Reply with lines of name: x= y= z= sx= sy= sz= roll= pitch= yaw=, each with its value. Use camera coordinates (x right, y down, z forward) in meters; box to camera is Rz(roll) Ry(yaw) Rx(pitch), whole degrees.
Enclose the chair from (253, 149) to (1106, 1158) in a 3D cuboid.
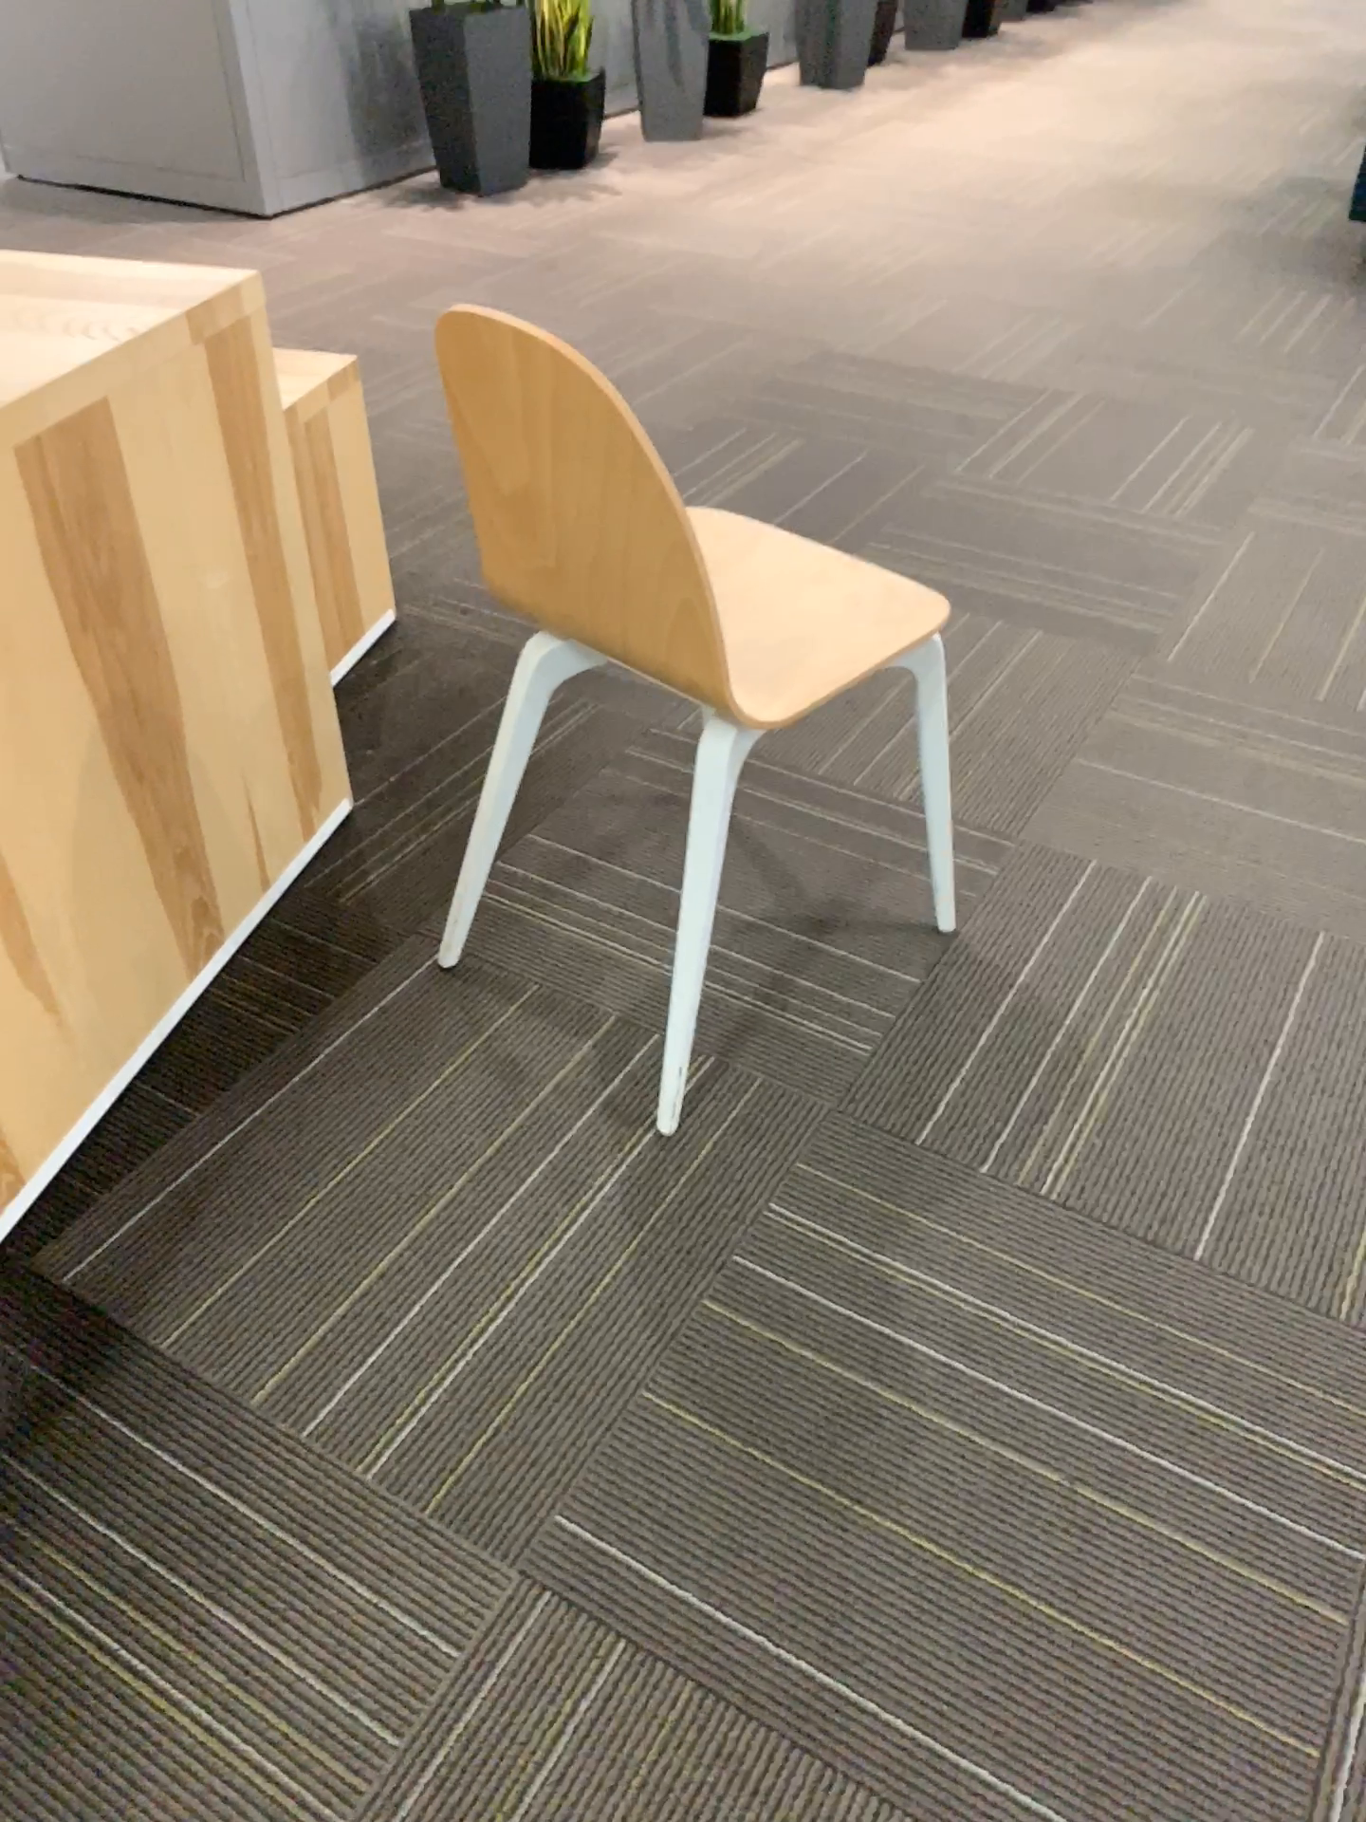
chair: x=0.001 y=-0.303 z=1.544 sx=0.552 sy=0.815 sz=0.561 roll=30 pitch=48 yaw=32
